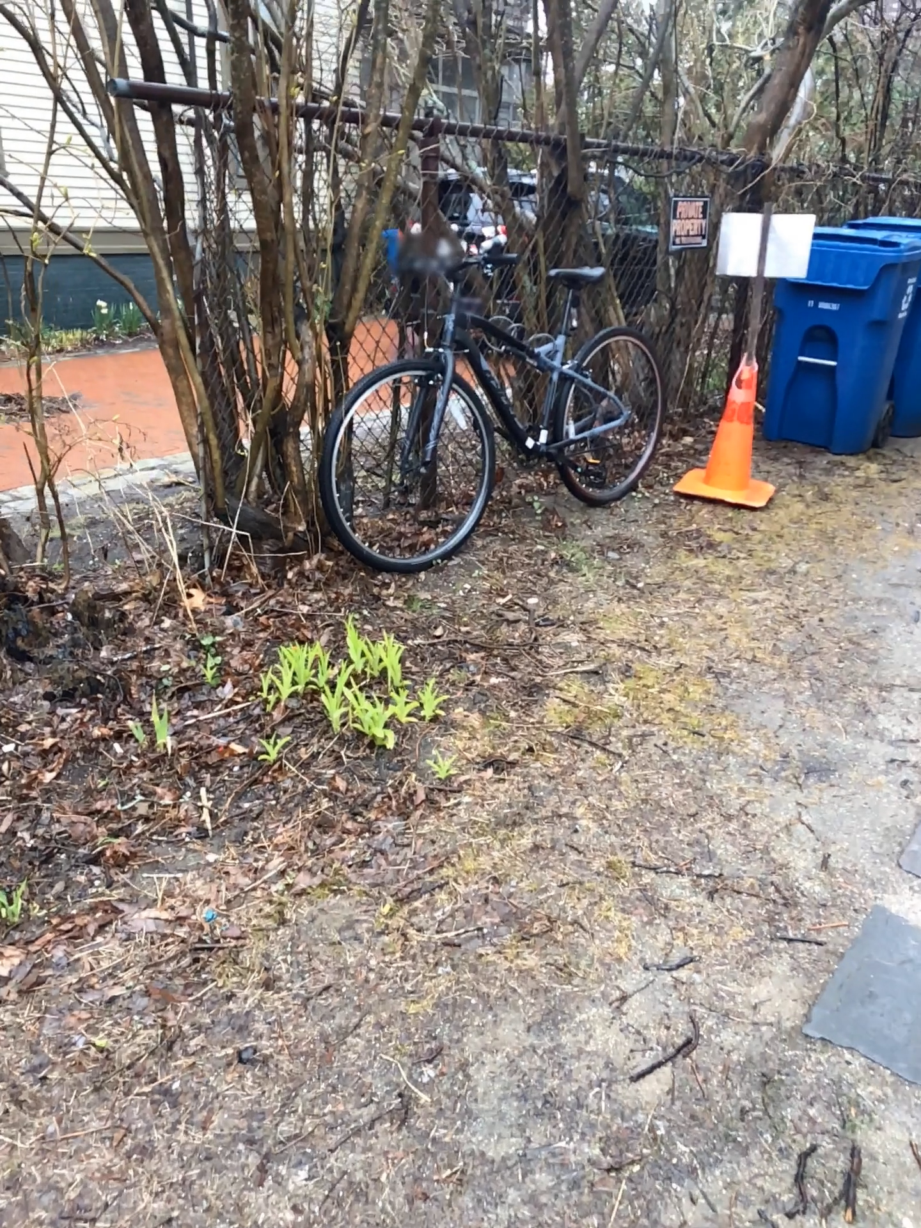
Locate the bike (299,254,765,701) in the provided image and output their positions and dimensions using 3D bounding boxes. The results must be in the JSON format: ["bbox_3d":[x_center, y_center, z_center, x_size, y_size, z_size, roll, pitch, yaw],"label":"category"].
[{"bbox_3d":[0.336,-0.633,3.677,0.537,1.067,1.892,20,33,40],"label":"bike"}]
